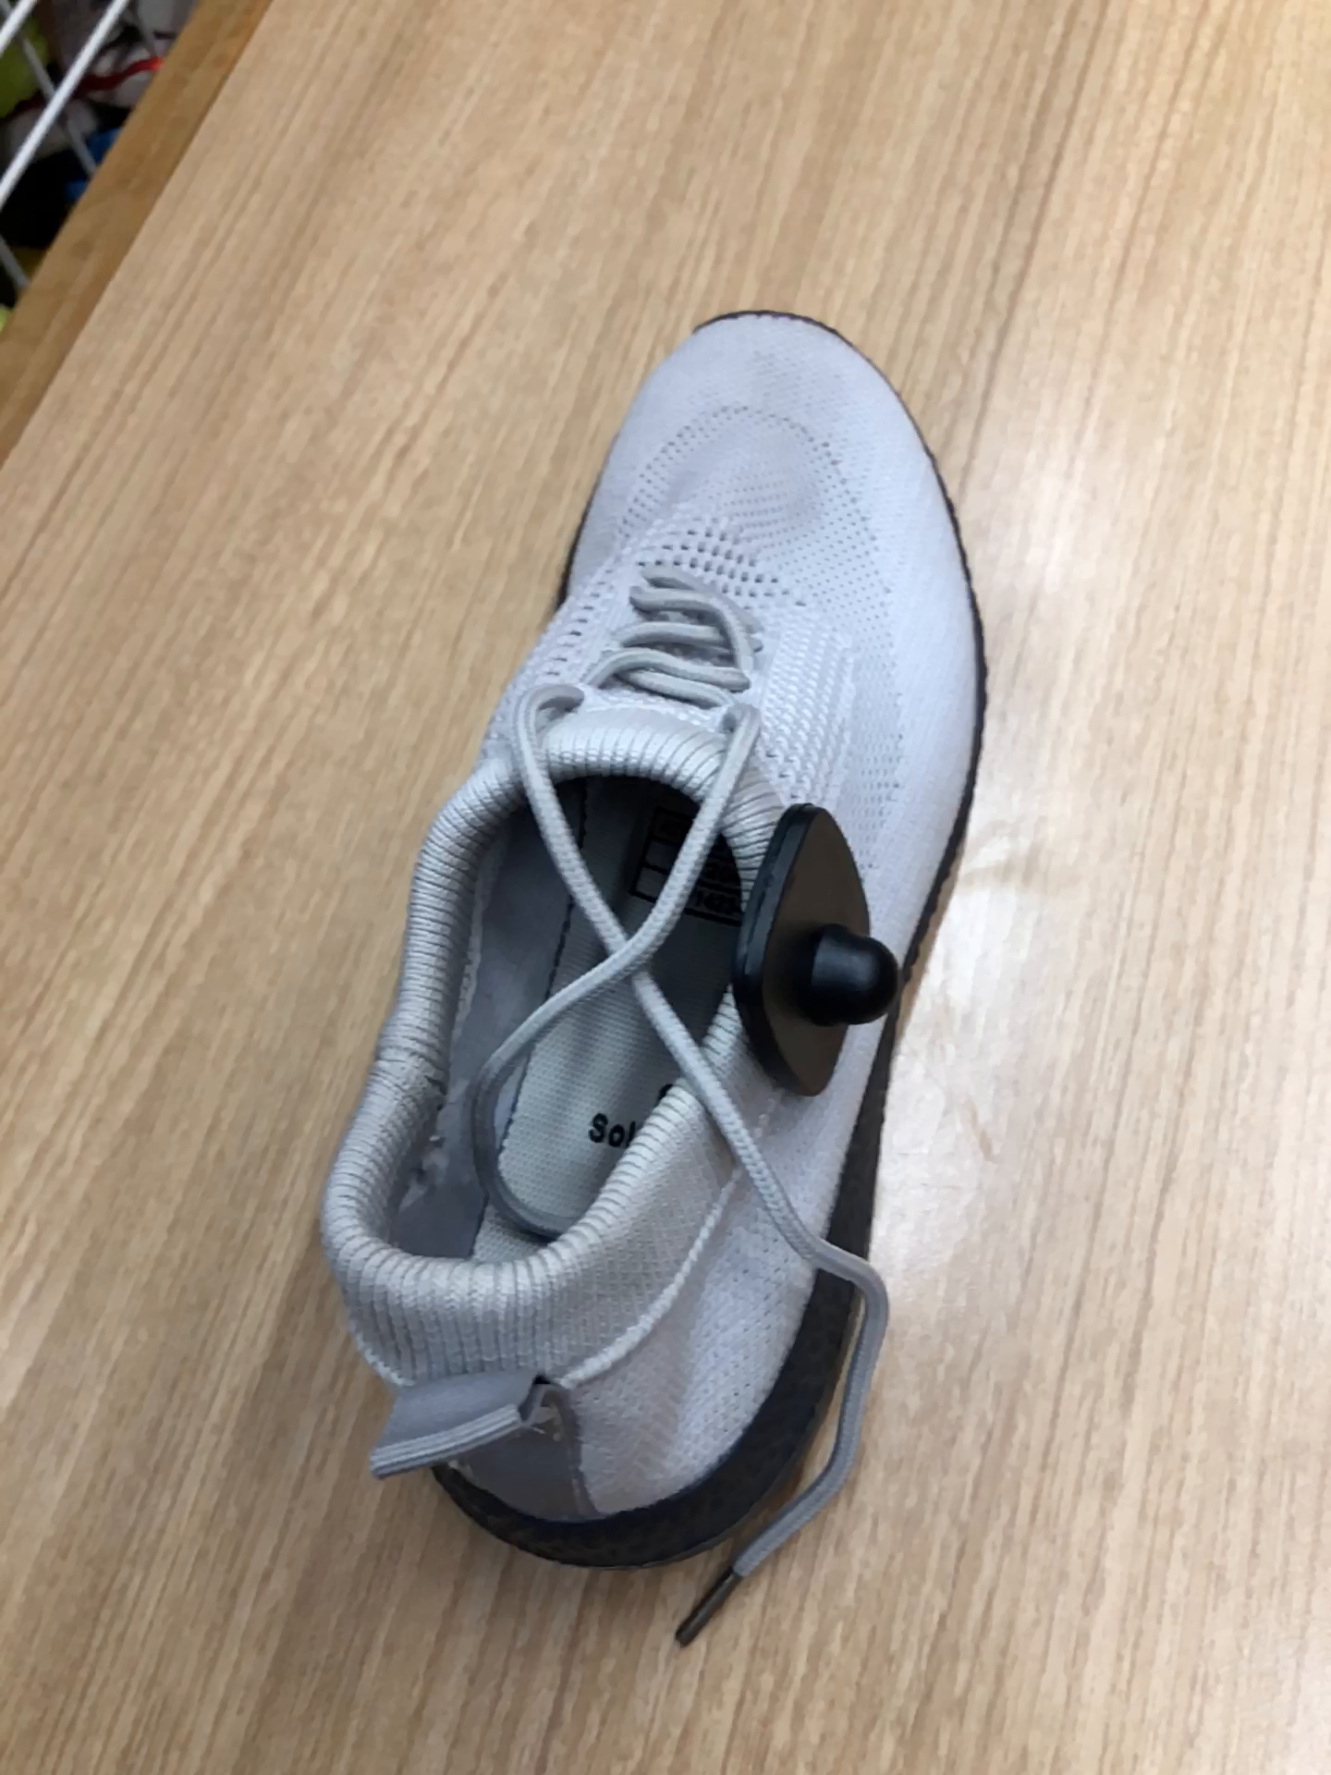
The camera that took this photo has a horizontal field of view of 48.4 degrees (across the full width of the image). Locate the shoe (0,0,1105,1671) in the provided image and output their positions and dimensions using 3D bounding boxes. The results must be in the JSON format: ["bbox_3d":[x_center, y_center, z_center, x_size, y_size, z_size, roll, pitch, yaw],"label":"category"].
[{"bbox_3d":[0.007,-0.020,0.269,0.106,0.122,0.265,7,66,11],"label":"shoe"}]
